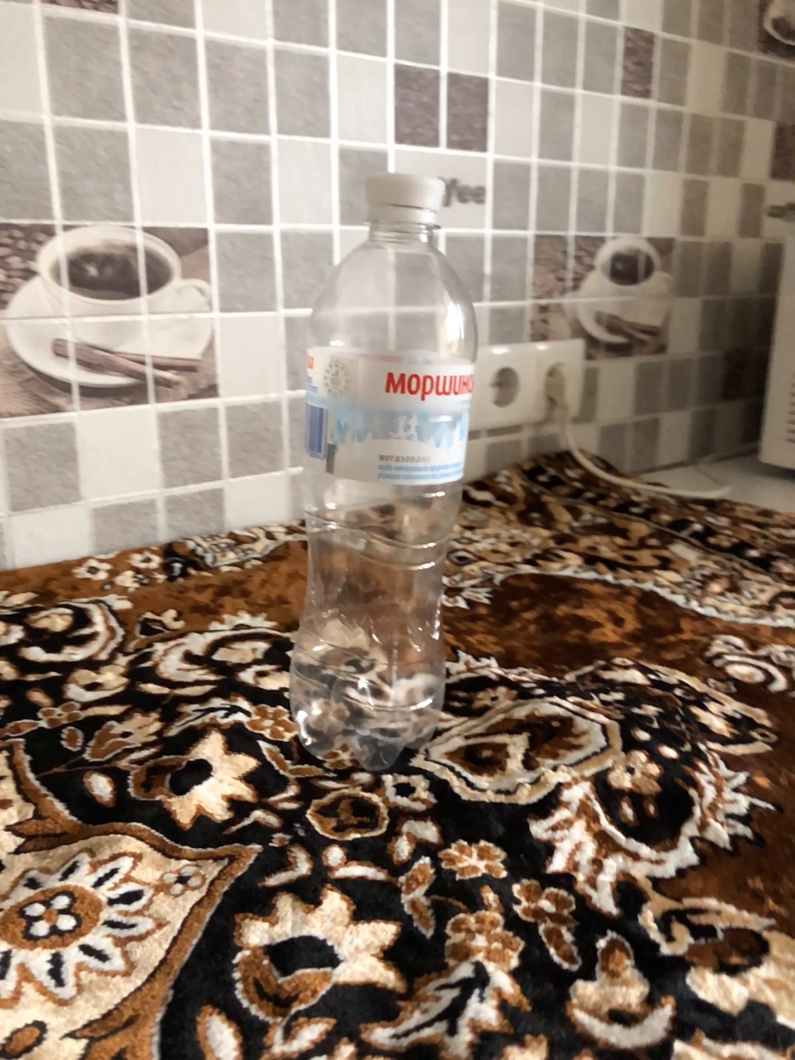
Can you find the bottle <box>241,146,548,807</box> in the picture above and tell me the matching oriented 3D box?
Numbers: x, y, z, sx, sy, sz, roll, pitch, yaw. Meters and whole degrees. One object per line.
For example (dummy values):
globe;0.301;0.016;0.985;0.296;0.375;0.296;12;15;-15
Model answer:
bottle;-0.007;-0.023;0.381;0.090;0.249;0.080;-9;20;-38
